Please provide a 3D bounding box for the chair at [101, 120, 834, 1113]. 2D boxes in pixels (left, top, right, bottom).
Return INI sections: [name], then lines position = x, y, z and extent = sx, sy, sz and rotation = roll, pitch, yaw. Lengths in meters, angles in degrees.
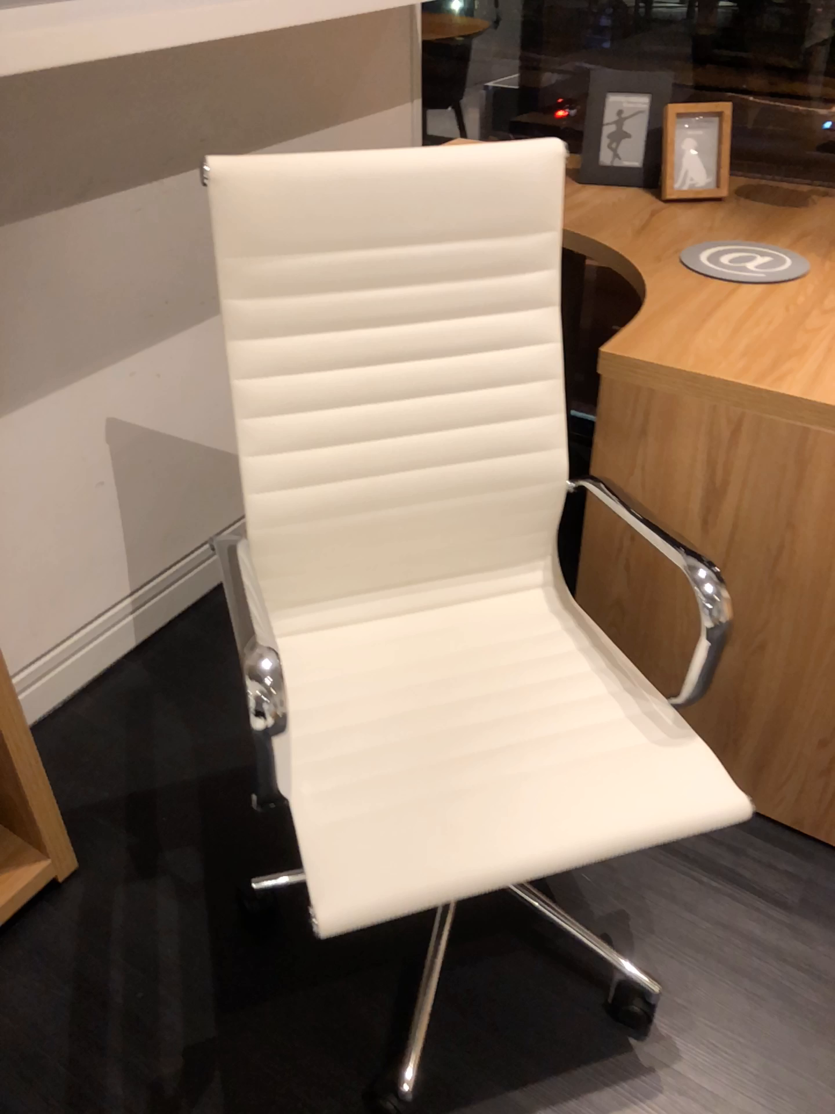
[chair]
position = 0.045, 0.088, 1.149
extent = 0.631, 1.013, 0.634
rotation = -11, 37, -13
